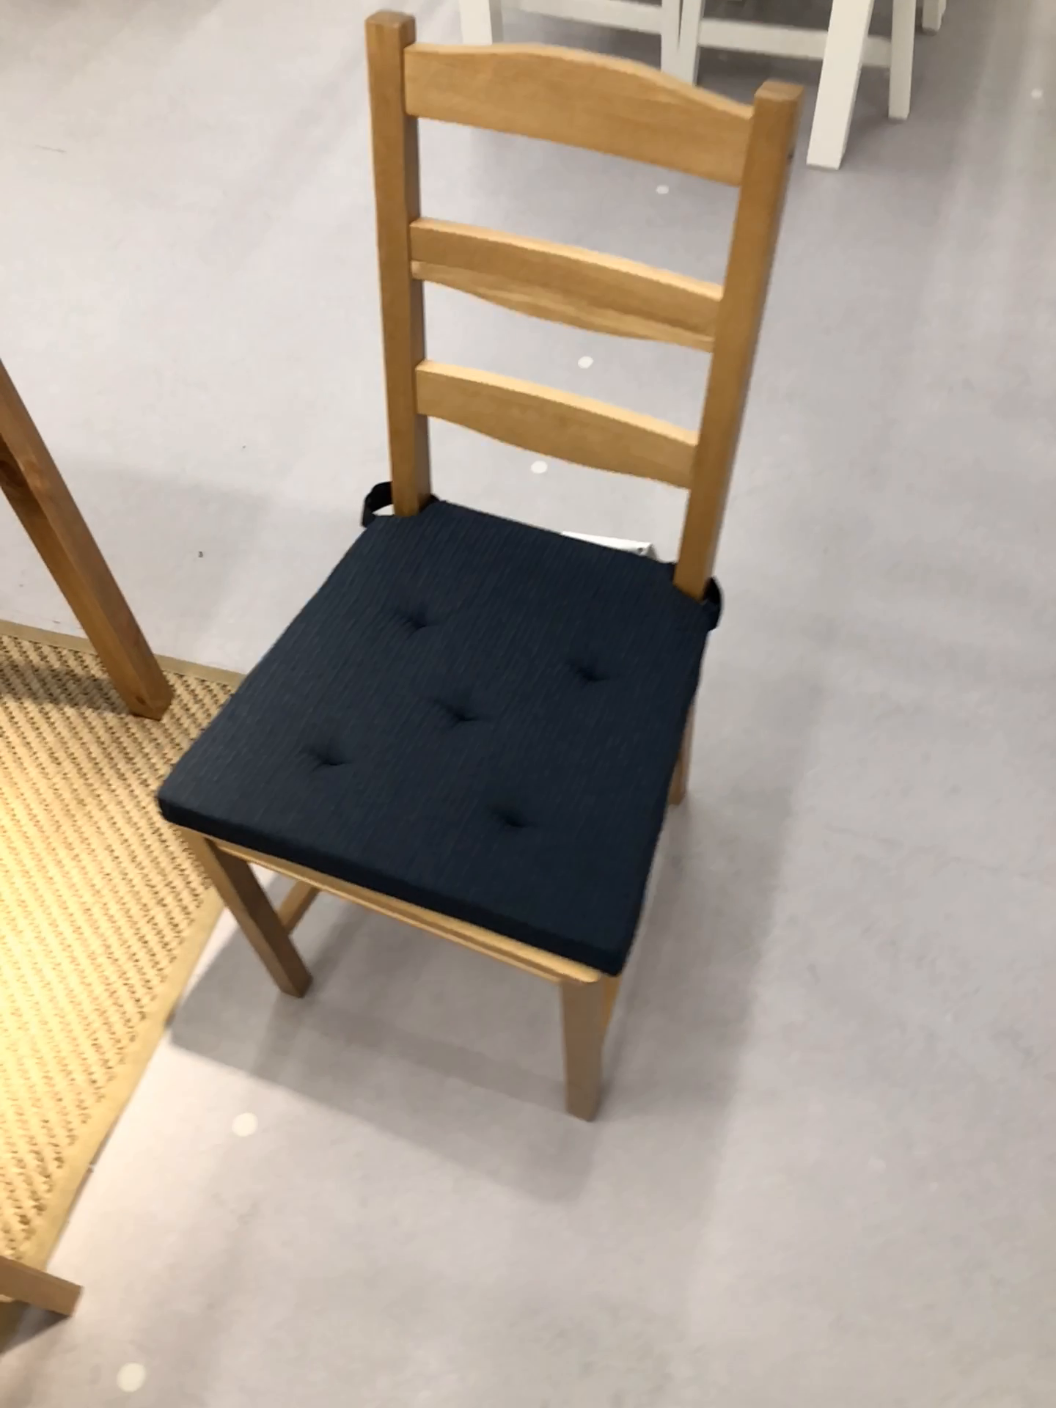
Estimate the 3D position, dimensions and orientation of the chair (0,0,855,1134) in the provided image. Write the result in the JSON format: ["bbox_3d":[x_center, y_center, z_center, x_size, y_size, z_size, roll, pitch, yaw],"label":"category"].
[{"bbox_3d":[-0.056,-0.046,1.057,0.441,0.865,0.522,16,58,13],"label":"chair"}]
